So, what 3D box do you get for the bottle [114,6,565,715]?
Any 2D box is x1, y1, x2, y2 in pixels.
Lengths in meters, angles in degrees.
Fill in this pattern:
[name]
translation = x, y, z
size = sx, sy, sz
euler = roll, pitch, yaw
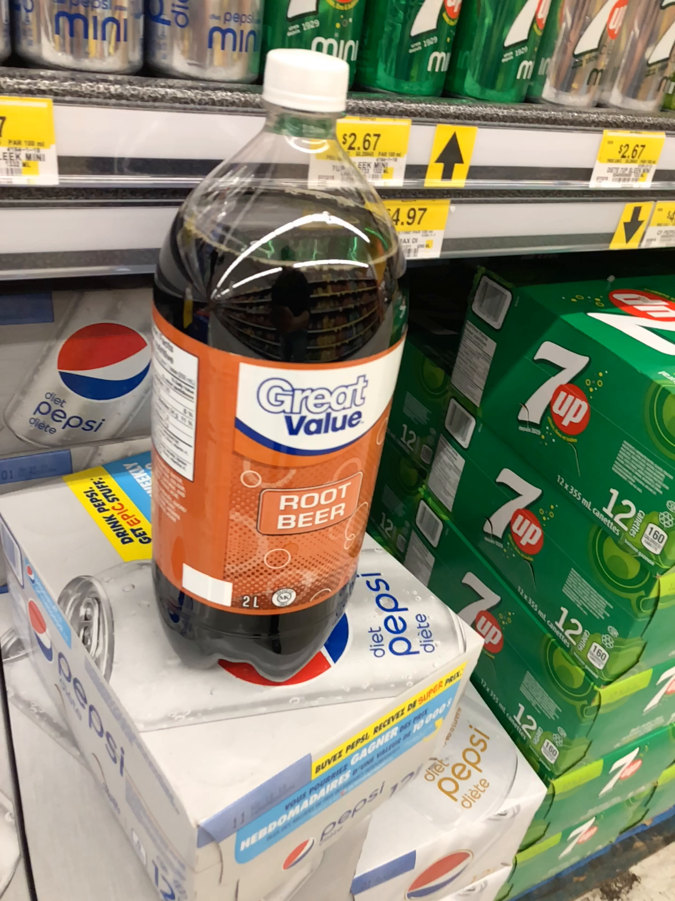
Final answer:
[bottle]
translation = -0.025, -0.029, 0.333
size = 0.120, 0.268, 0.121
euler = 7, 35, -5
